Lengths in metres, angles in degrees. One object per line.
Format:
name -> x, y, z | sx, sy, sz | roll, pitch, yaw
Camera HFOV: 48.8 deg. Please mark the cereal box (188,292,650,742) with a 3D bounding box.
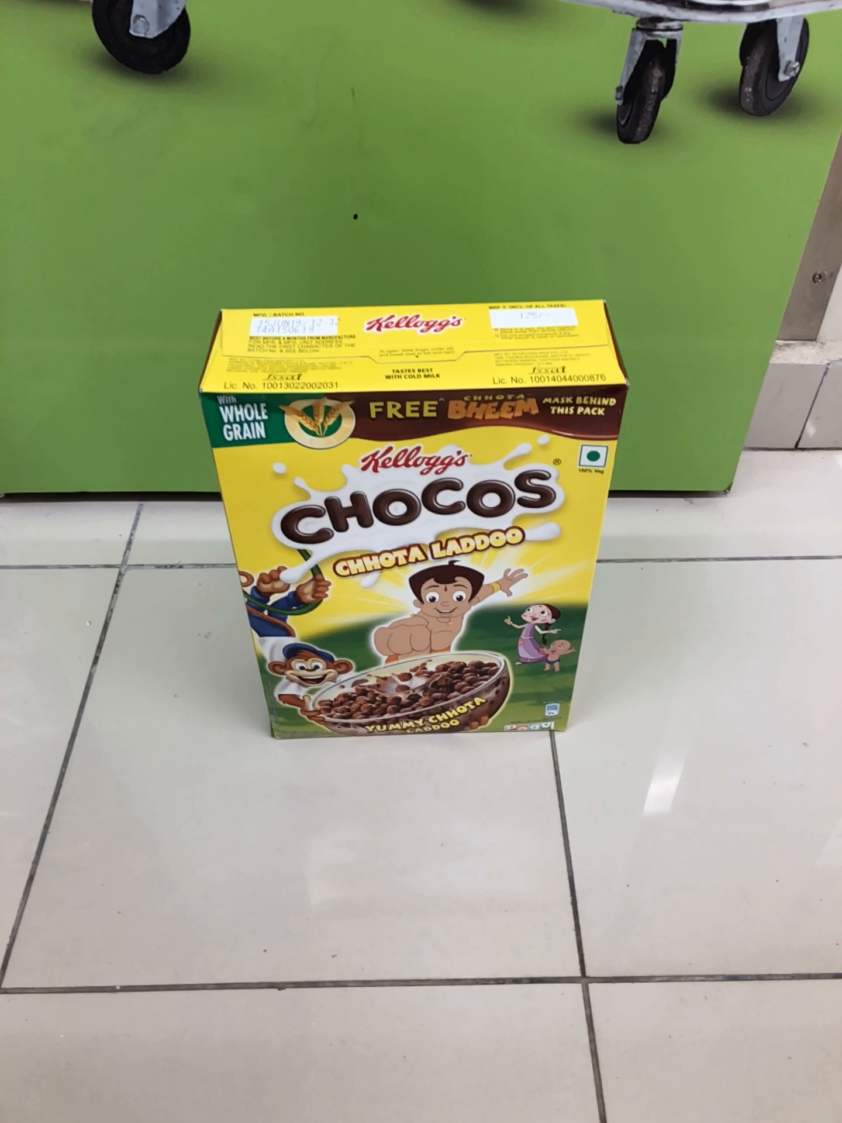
cereal box -> -0.002, -0.009, 0.498 | 0.190, 0.258, 0.070 | -1, 45, -1
